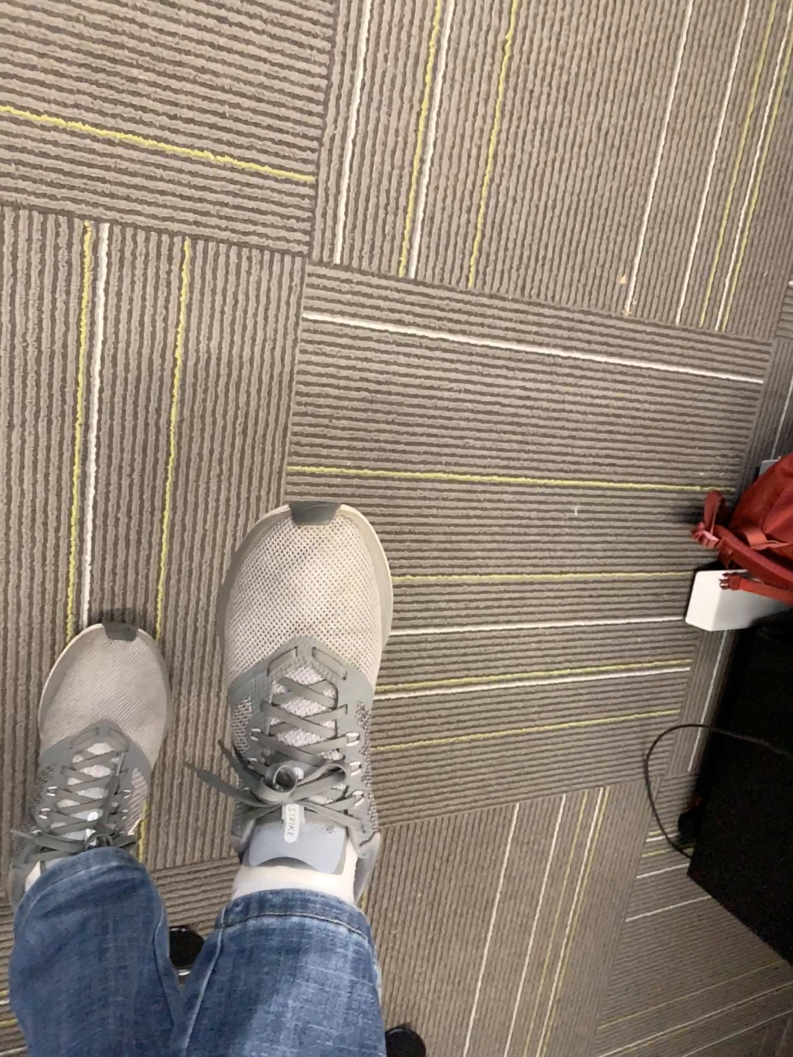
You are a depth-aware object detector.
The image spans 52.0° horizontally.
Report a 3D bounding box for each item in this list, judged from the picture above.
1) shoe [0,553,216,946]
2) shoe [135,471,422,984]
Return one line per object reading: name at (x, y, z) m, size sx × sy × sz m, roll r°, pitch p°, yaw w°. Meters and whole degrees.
shoe at (-0.297, 0.207, 0.796) m, size 0.124 × 0.179 × 0.310 m, roll 12°, pitch 101°, yaw -30°
shoe at (-0.059, 0.125, 0.519) m, size 0.126 × 0.115 × 0.298 m, roll -2°, pitch 107°, yaw 6°
